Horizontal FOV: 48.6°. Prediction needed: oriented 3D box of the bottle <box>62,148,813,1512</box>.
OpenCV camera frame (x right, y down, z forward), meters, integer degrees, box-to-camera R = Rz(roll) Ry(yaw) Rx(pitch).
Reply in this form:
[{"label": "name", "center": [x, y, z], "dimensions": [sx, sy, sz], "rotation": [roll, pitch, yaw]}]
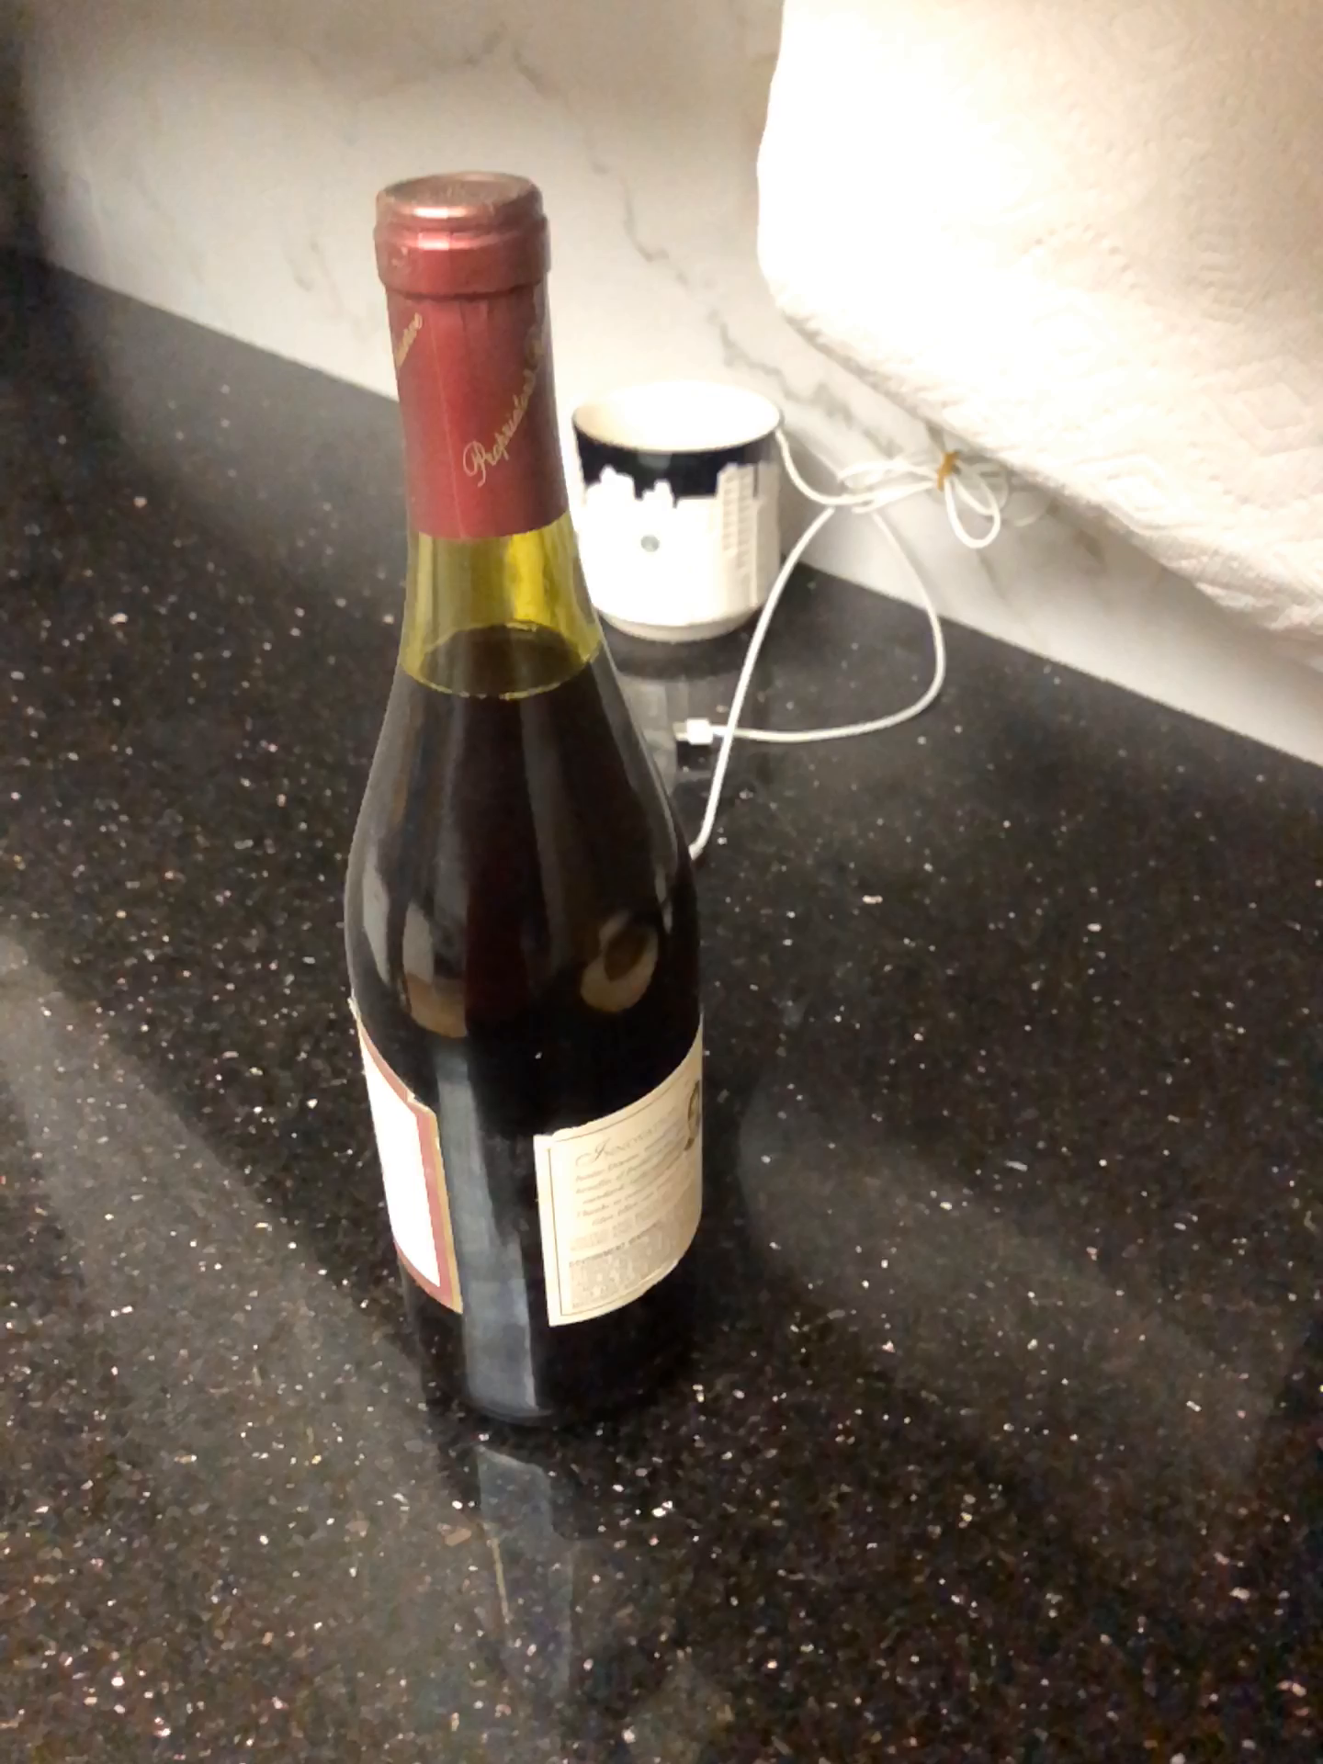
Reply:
[{"label": "bottle", "center": [-0.031, 0.005, 0.330], "dimensions": [0.090, 0.288, 0.090], "rotation": [-1, 36, 1]}]
